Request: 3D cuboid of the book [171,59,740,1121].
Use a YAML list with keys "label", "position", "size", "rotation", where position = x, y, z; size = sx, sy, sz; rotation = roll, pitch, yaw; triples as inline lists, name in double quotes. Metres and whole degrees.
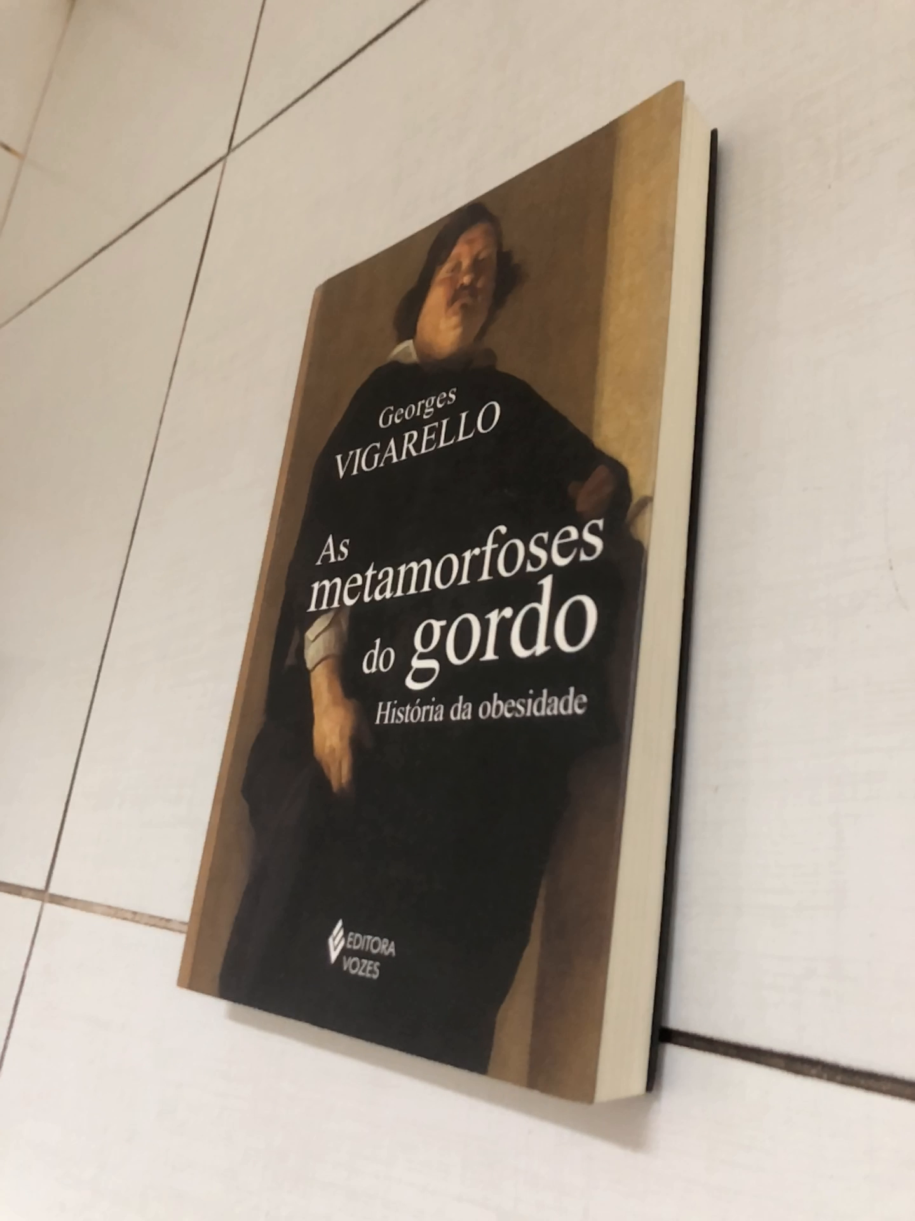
- label: "book"
  position: [-0.004, -0.007, 0.242]
  size: [0.137, 0.023, 0.204]
  rotation: [-10, 67, 46]
